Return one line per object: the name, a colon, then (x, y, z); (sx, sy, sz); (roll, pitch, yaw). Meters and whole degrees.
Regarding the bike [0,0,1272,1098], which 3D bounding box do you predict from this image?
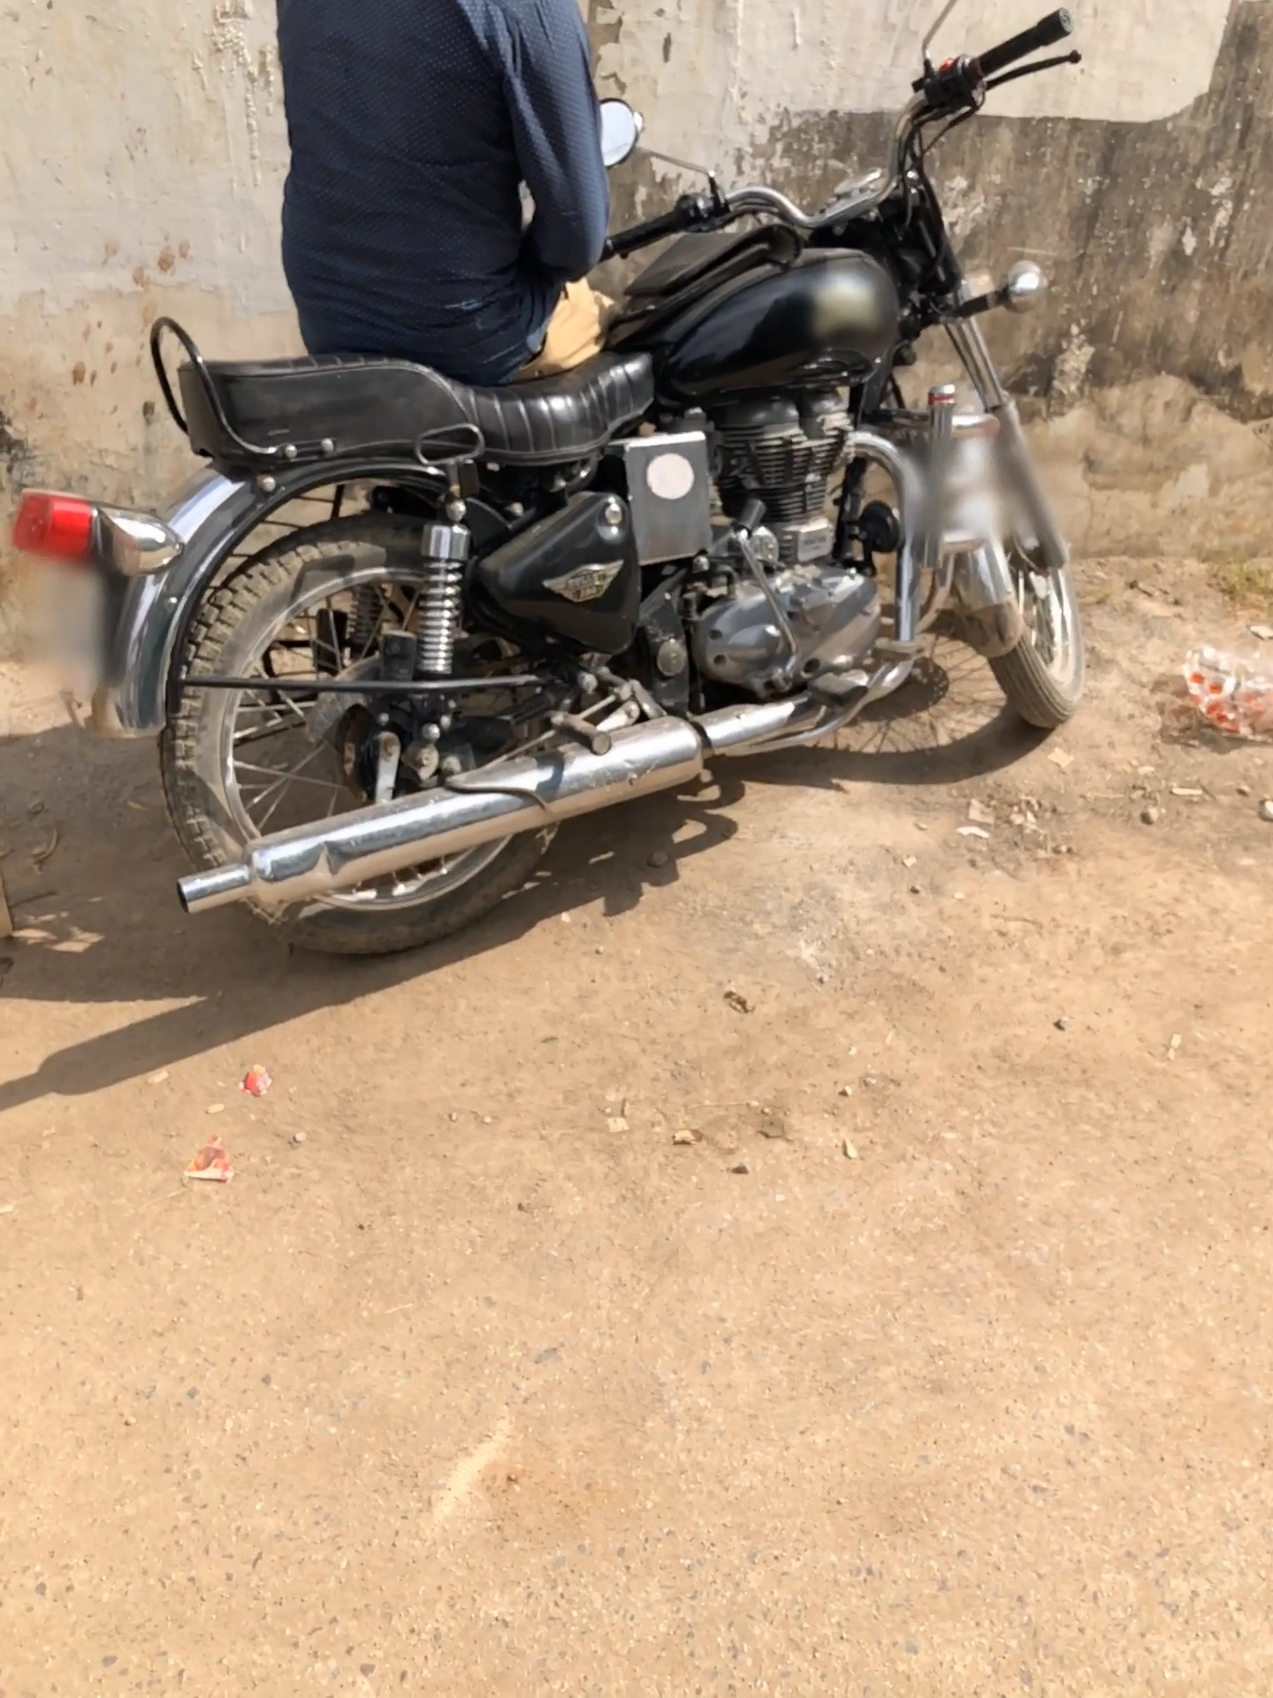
bike: (0.047, -0.774, 2.387); (1.941, 1.316, 0.883); (-23, 41, -31)
